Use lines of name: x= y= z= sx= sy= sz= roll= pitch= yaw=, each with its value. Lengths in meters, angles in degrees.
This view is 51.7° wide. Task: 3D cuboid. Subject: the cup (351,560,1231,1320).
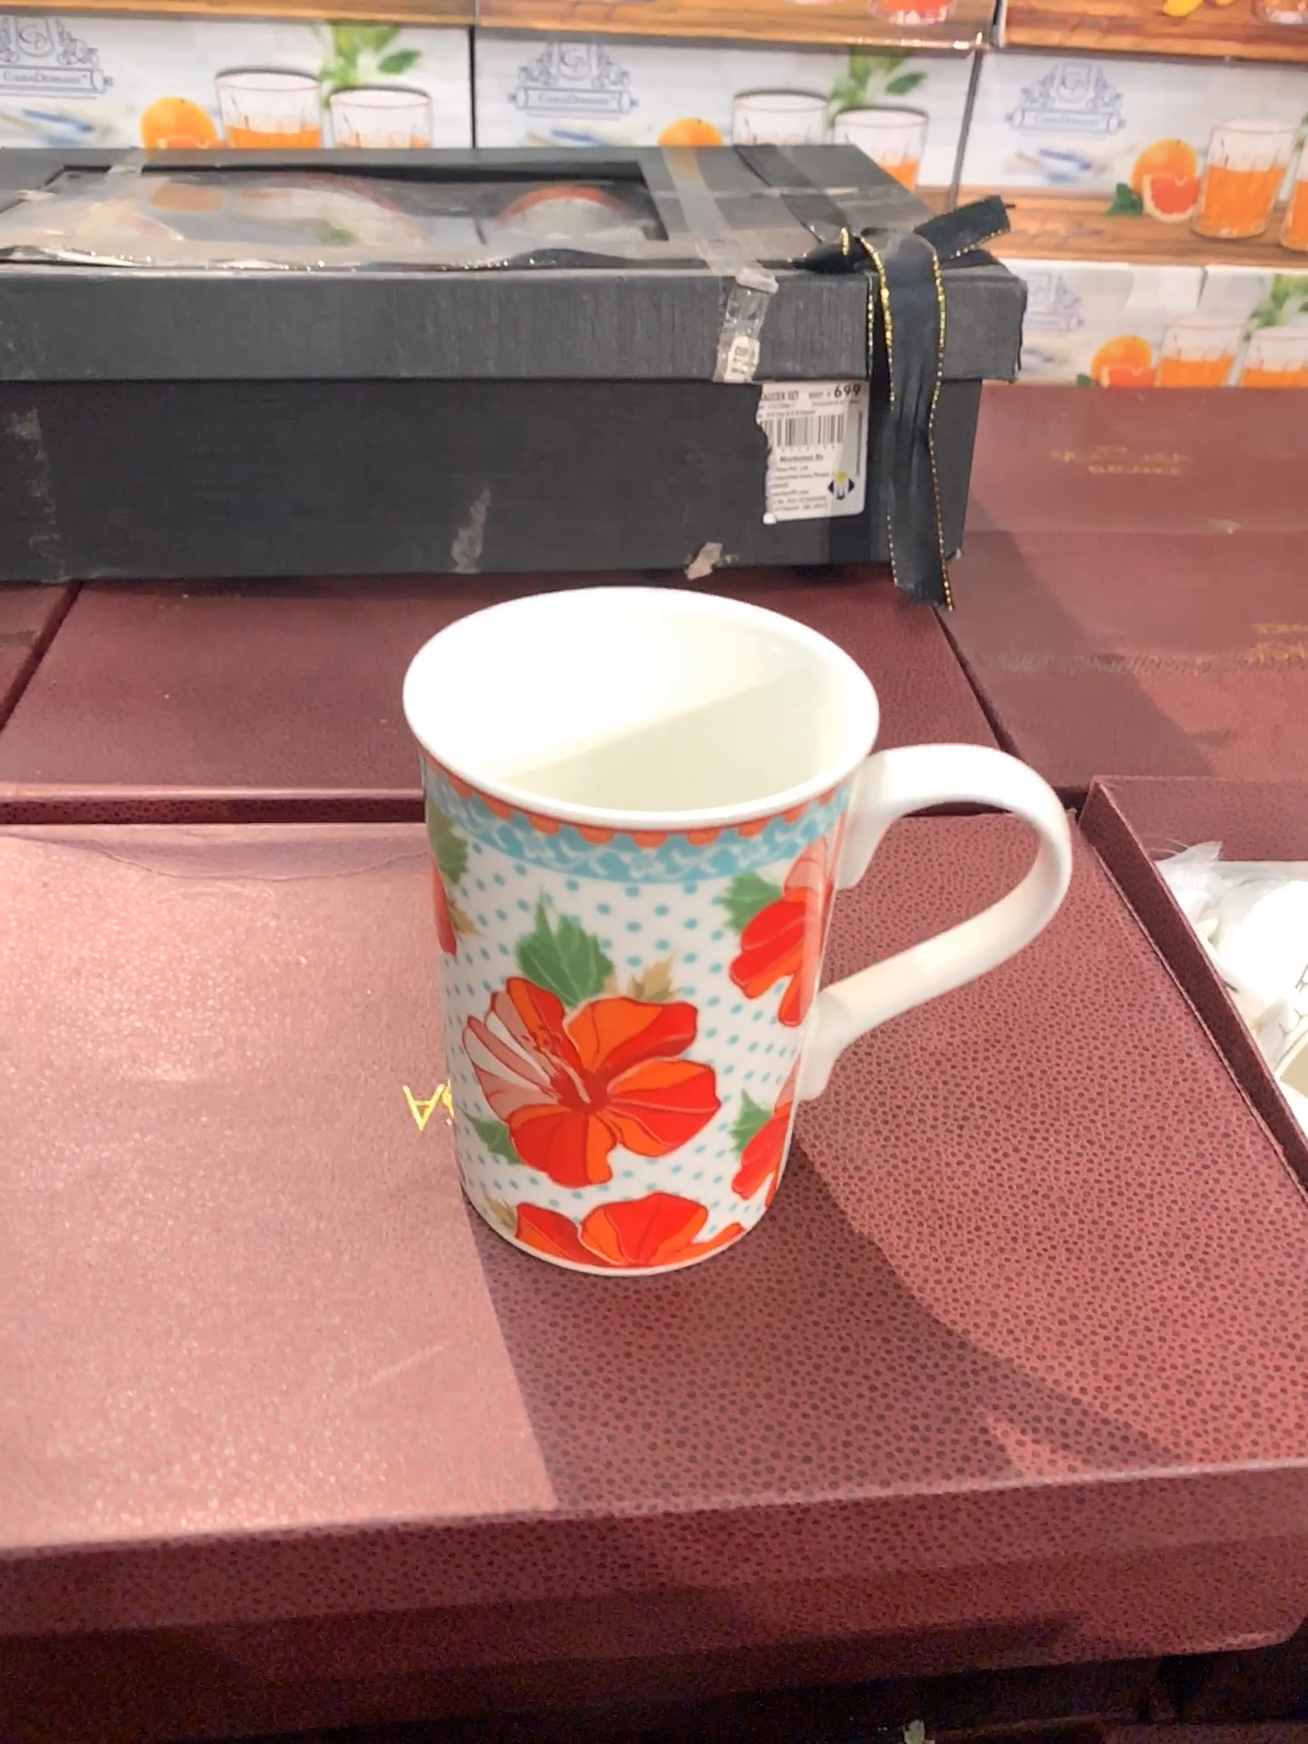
cup: x=0.015 y=0.012 z=0.247 sx=0.120 sy=0.110 sz=0.080 roll=0 pitch=37 yaw=-5
